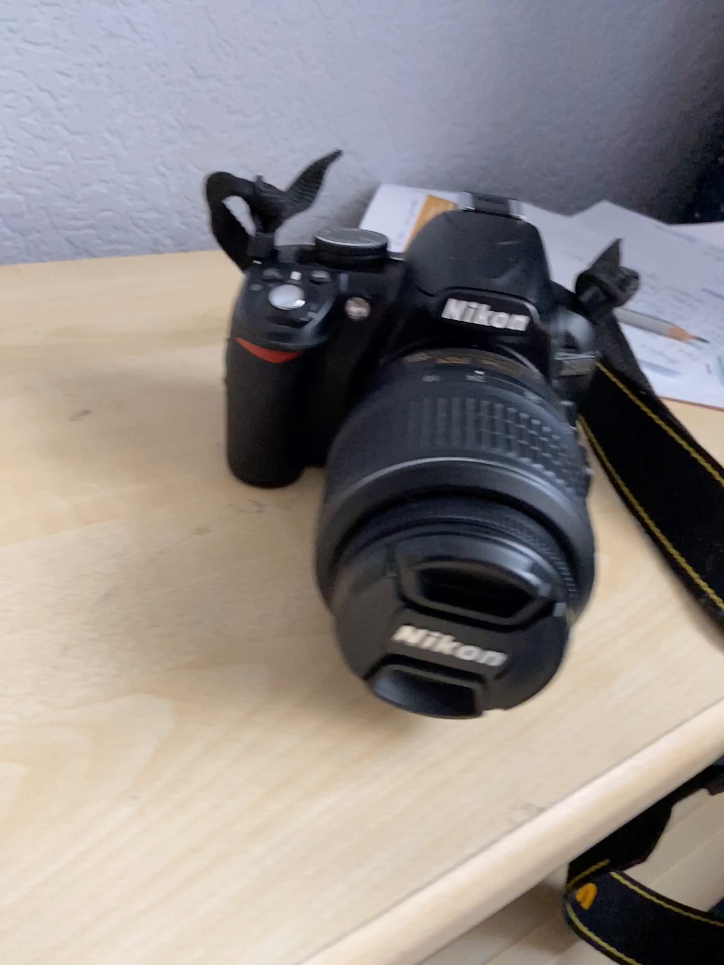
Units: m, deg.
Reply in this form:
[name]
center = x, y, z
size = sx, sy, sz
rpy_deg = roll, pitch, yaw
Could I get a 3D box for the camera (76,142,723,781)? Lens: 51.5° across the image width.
[camera]
center = 0.013, -0.020, 0.210
size = 0.118, 0.091, 0.153
rpy_deg = 9, 37, 0
